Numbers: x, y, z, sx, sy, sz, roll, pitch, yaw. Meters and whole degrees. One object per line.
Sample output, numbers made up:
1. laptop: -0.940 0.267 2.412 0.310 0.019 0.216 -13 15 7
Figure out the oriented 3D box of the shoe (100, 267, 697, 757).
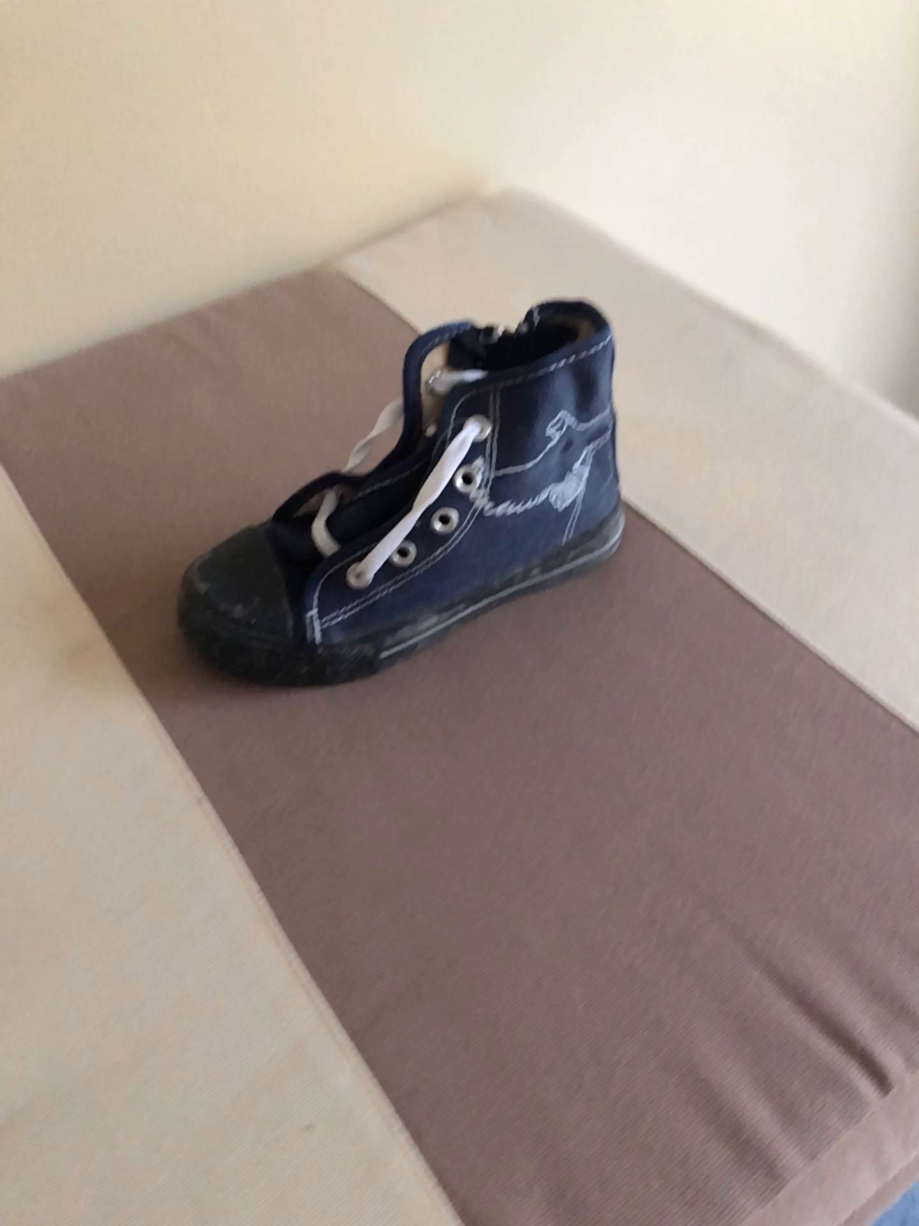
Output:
1. shoe: -0.019 -0.045 0.408 0.201 0.099 0.090 -24 50 -17
